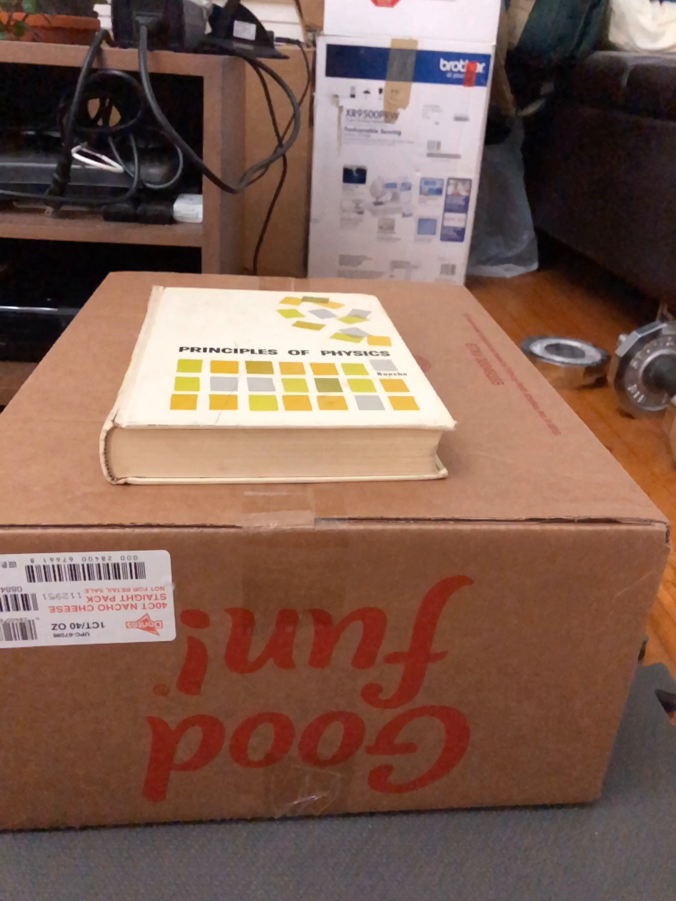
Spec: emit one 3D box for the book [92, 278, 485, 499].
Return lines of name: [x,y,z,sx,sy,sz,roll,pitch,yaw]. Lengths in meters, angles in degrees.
book: [-0.035,-0.053,0.463,0.180,0.040,0.251,0,27,-7]
